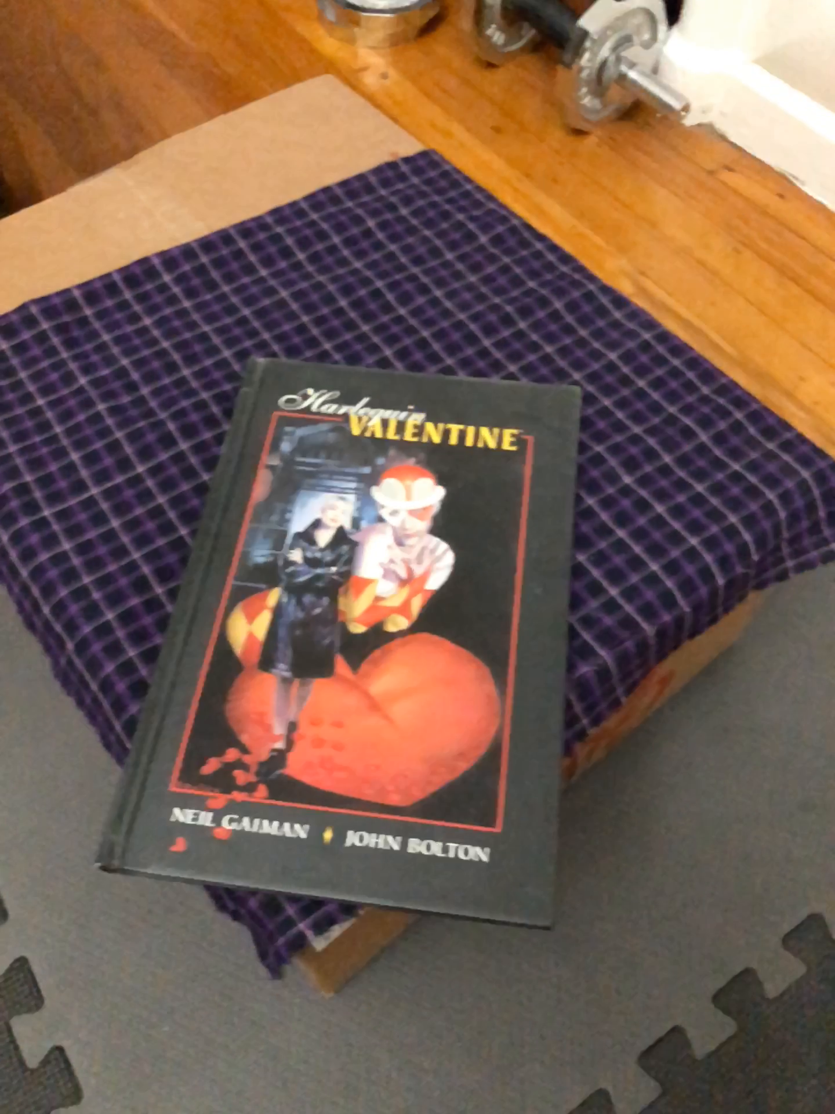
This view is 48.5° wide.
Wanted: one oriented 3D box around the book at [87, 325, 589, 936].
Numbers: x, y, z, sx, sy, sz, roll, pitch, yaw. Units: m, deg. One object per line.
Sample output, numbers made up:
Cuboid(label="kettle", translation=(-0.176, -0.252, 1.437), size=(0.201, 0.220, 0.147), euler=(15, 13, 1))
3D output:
Cuboid(label="book", translation=(-0.016, 0.009, 0.417), size=(0.180, 0.020, 0.281), euler=(5, 58, 3))
